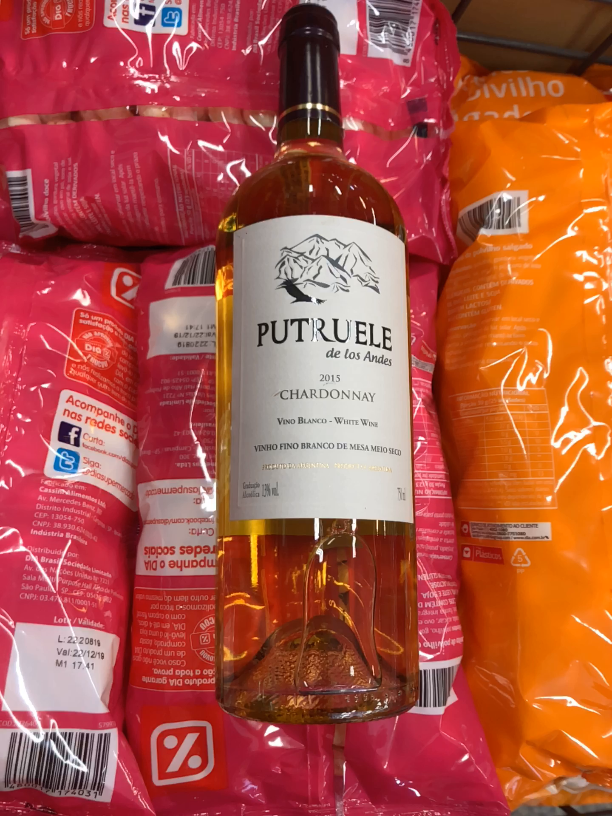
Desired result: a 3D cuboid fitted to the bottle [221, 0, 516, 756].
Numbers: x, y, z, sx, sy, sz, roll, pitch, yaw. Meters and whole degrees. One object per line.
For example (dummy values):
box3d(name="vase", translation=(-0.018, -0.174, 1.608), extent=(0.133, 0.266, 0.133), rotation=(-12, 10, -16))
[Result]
box3d(name="bottle", translation=(0.013, -0.040, 0.265), extent=(0.080, 0.070, 0.300), rotation=(2, 74, -12))
